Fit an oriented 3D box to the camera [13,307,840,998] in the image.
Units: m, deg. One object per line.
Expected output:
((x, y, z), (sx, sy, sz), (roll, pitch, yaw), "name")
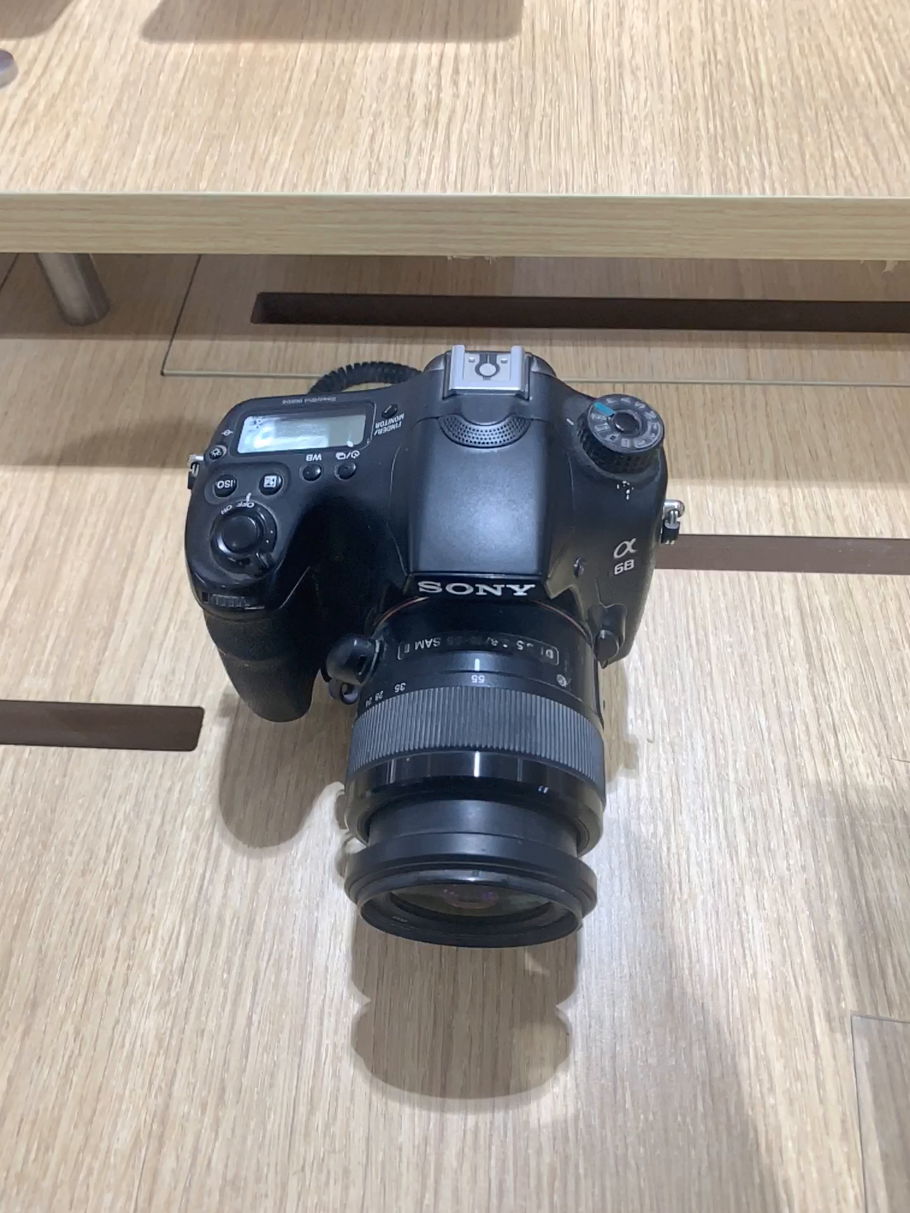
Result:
((-0.001, 0.011, 0.252), (0.150, 0.100, 0.150), (2, 56, 3), "camera")
